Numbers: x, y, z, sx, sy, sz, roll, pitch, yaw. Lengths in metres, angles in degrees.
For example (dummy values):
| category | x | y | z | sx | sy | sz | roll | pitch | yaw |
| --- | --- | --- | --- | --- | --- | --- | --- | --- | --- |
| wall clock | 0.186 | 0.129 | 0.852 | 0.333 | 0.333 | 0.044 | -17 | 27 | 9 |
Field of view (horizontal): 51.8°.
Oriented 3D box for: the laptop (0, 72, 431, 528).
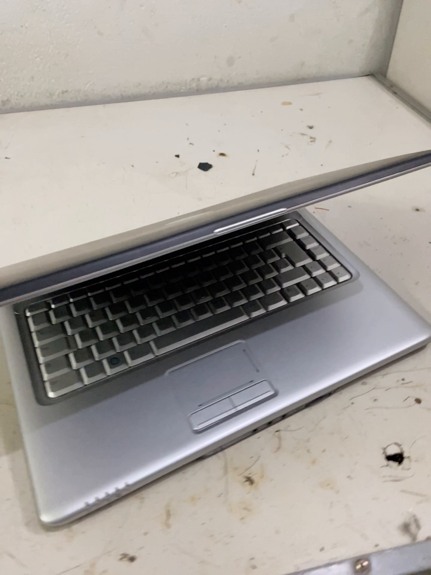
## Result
| category | x | y | z | sx | sy | sz | roll | pitch | yaw |
| --- | --- | --- | --- | --- | --- | --- | --- | --- | --- |
| laptop | -0.011 | -0.031 | 0.367 | 0.347 | 0.145 | 0.238 | -20 | 49 | -19 |
